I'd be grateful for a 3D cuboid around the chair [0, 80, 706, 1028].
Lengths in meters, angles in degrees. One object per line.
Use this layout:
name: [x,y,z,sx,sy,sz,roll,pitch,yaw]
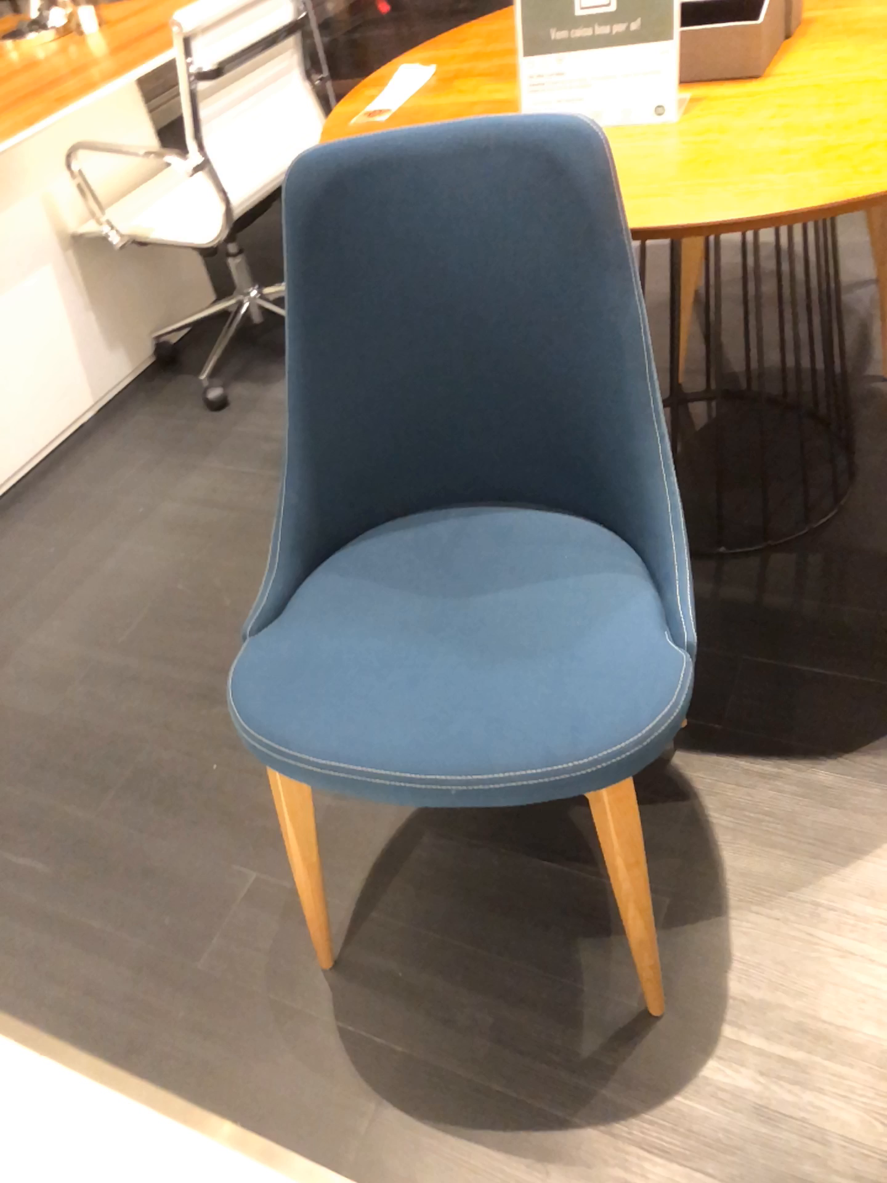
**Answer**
chair: [0.013,-0.001,1.108,0.520,0.853,0.544,1,43,17]
